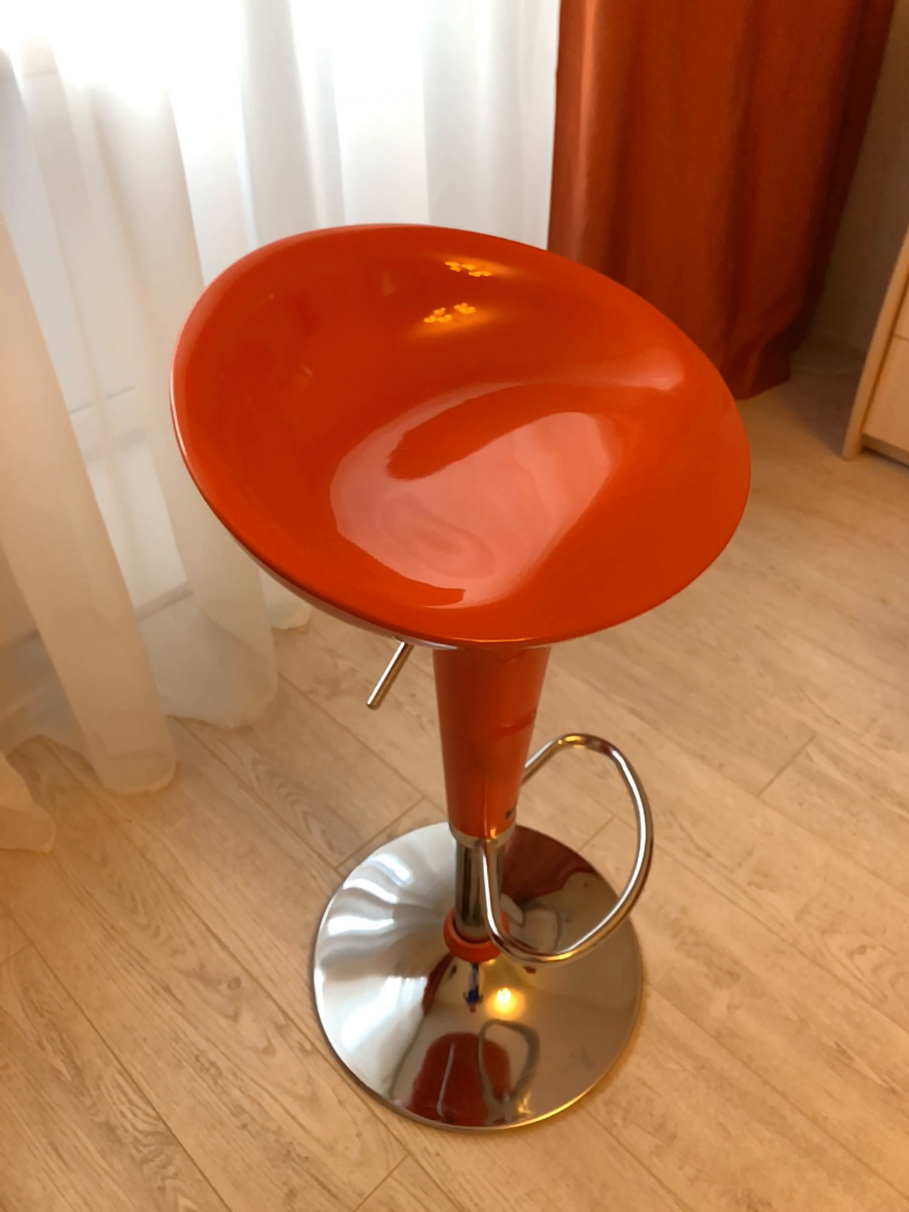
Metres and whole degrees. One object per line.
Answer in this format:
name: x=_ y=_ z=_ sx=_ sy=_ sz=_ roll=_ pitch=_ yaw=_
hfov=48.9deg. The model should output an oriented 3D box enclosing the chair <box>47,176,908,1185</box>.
chair: x=0.045 y=0.093 z=0.851 sx=0.420 sy=0.725 sz=0.413 roll=8 pitch=42 yaw=8
